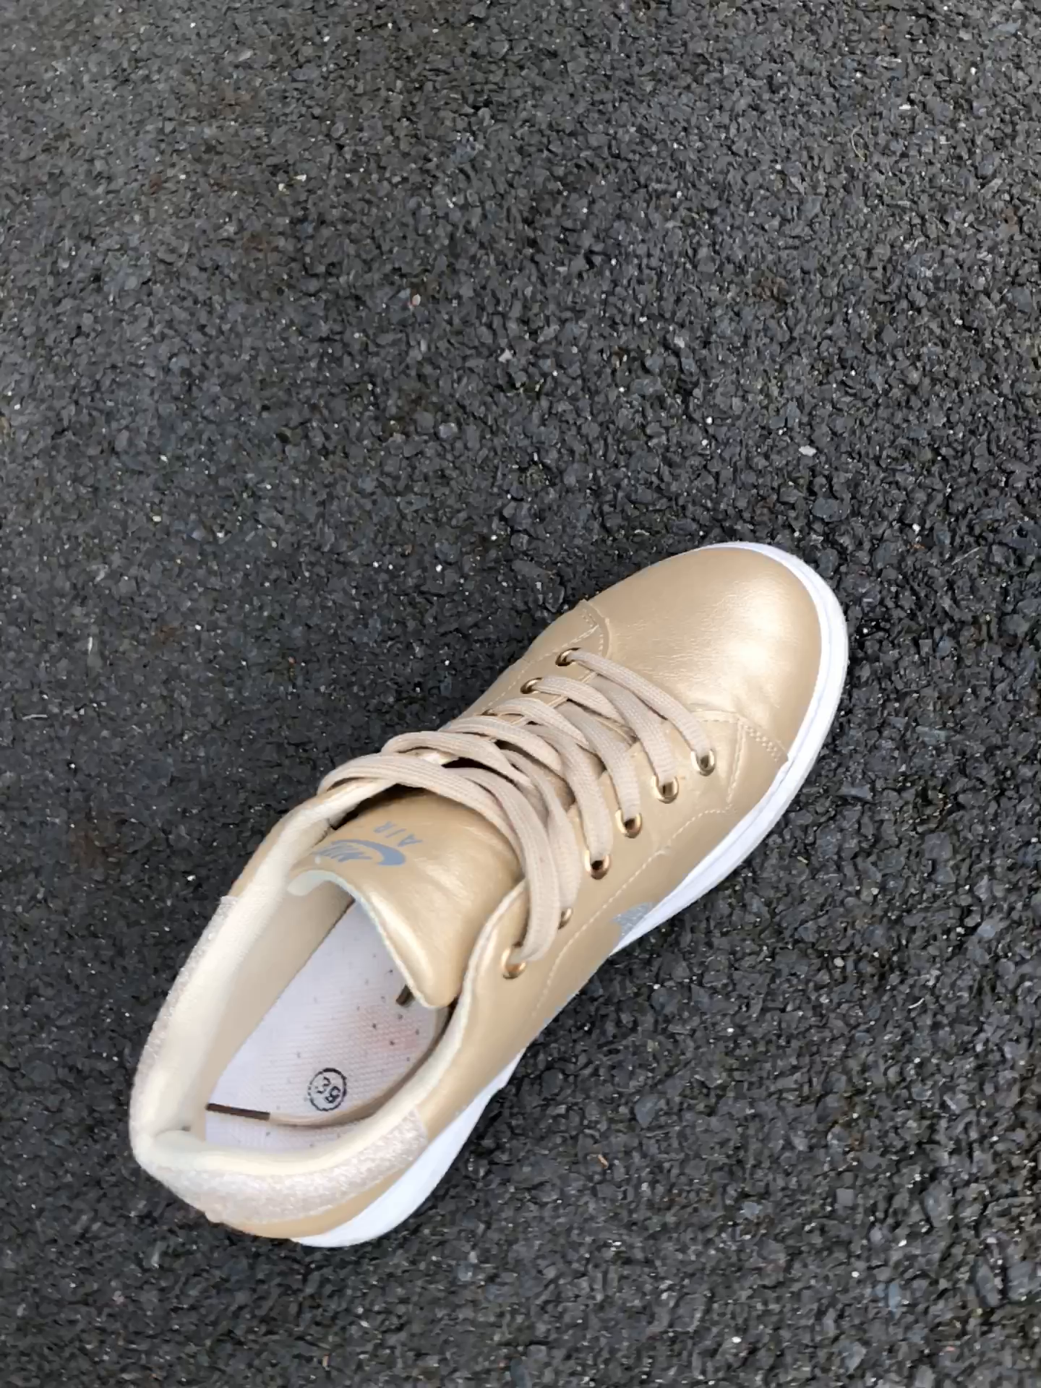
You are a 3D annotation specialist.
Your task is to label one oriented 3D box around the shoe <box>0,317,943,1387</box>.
[{"bbox_3d":[-0.010,0.044,0.327,0.116,0.100,0.260,35,82,24],"label":"shoe"}]
